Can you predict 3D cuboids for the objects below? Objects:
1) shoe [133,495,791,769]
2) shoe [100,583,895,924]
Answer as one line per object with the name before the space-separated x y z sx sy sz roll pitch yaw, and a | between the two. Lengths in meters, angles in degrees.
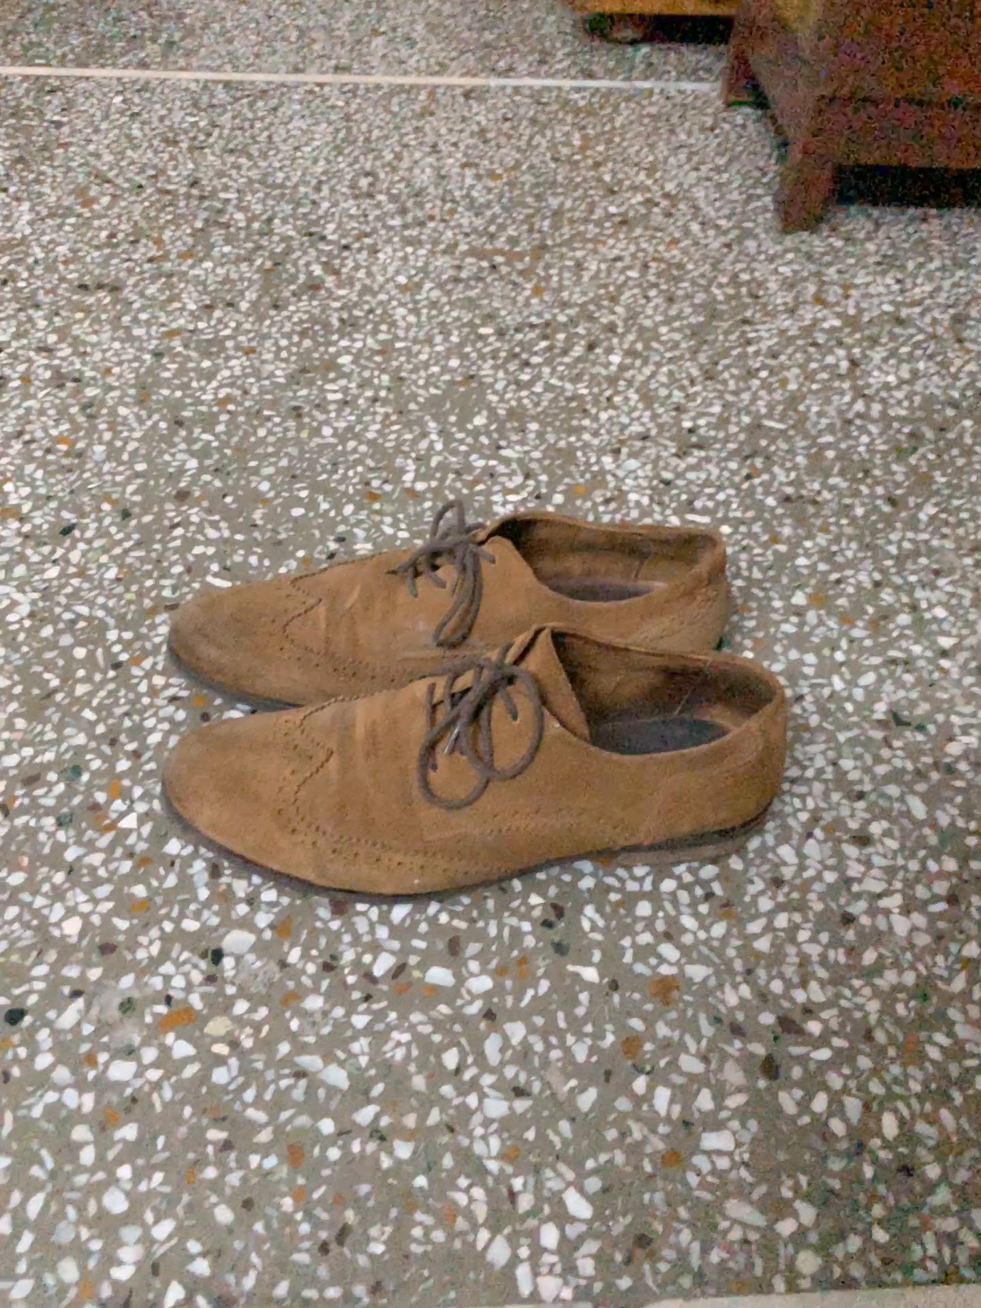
shoe | -0.015 -0.011 0.549 0.310 0.110 0.100 0 50 -2
shoe | 0.001 0.046 0.466 0.310 0.110 0.100 -2 51 -4
